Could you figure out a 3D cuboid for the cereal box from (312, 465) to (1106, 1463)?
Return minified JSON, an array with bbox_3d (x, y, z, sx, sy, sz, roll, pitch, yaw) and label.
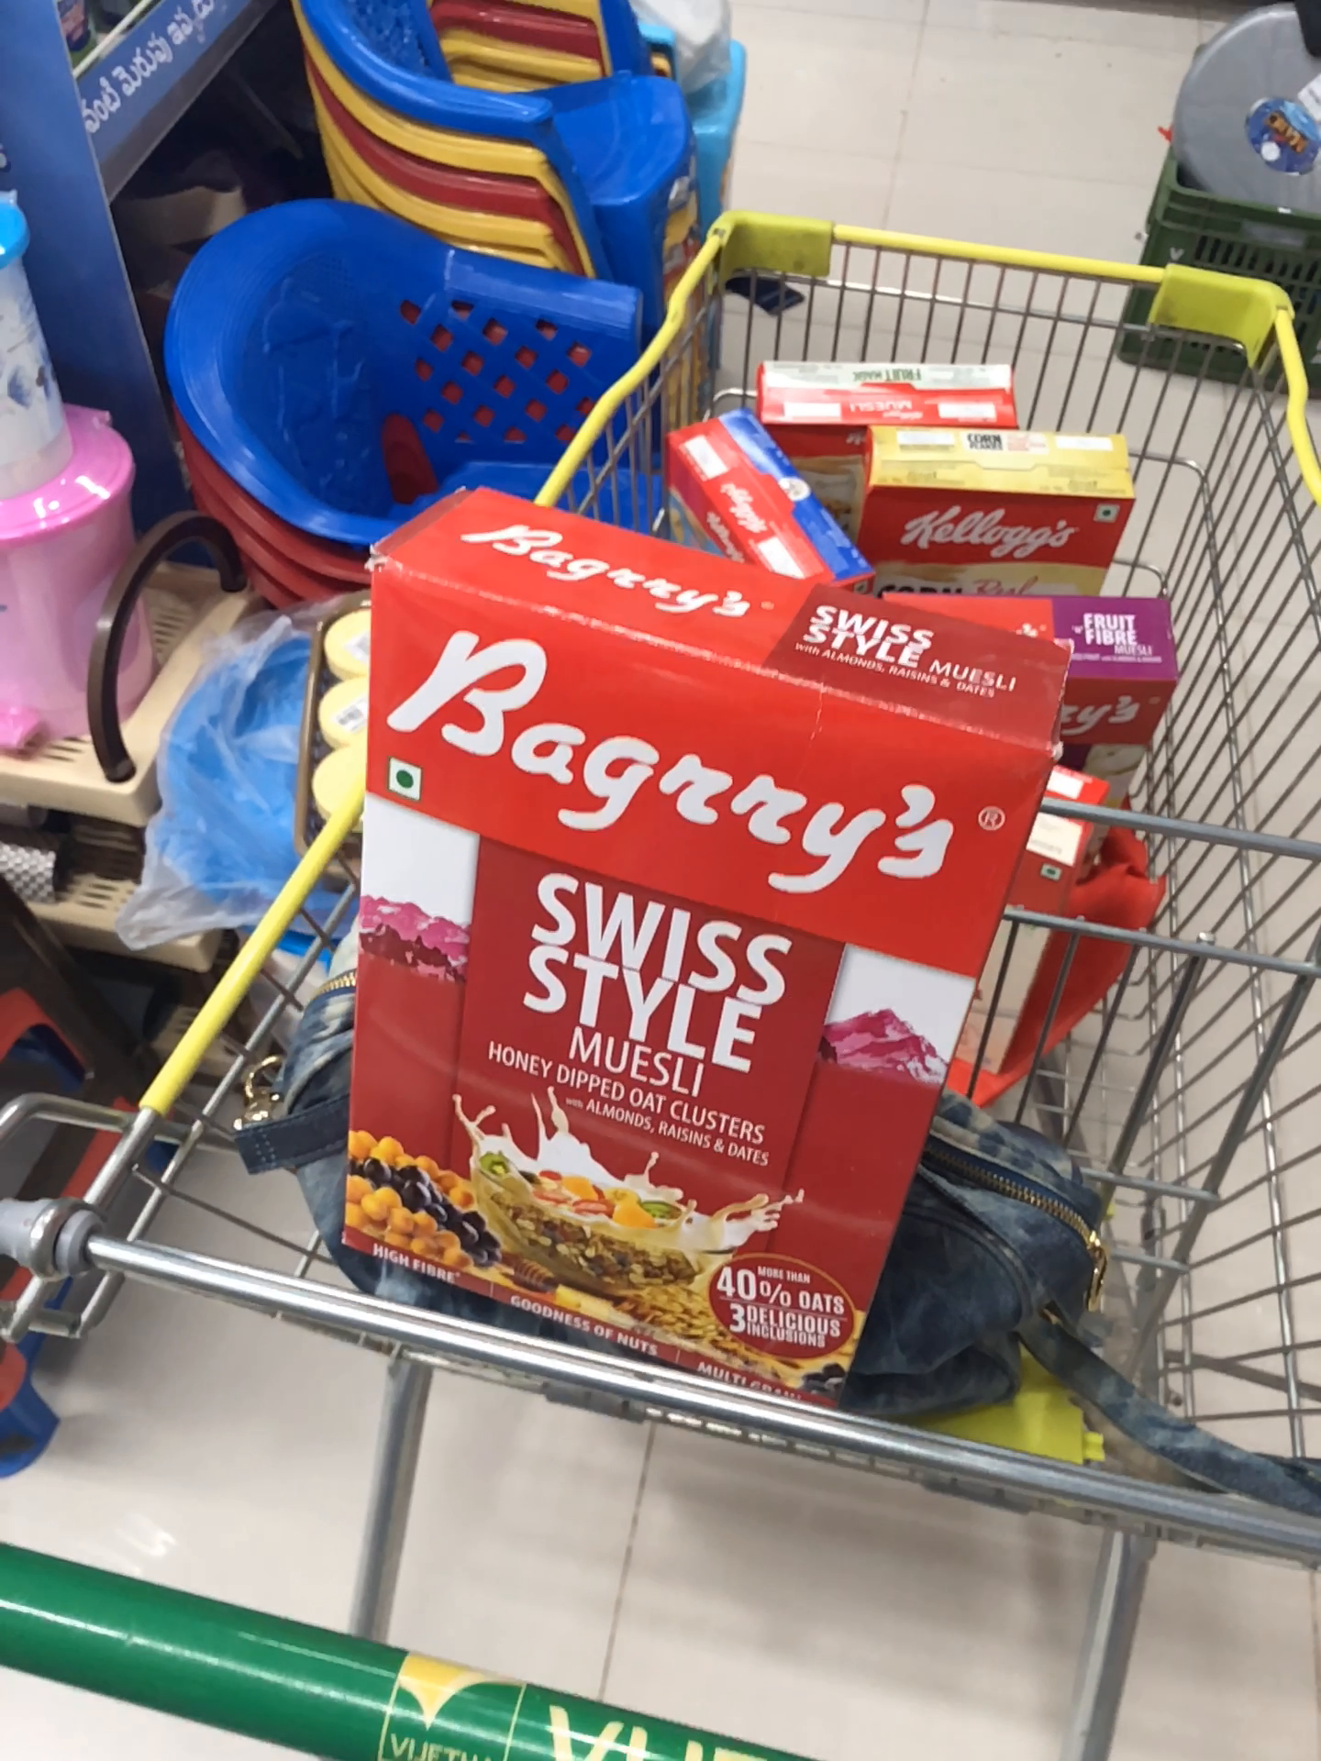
[{"bbox_3d":[-0.001,0.032,0.445,0.190,0.260,0.070,17,32,12],"label":"cereal box"}]
